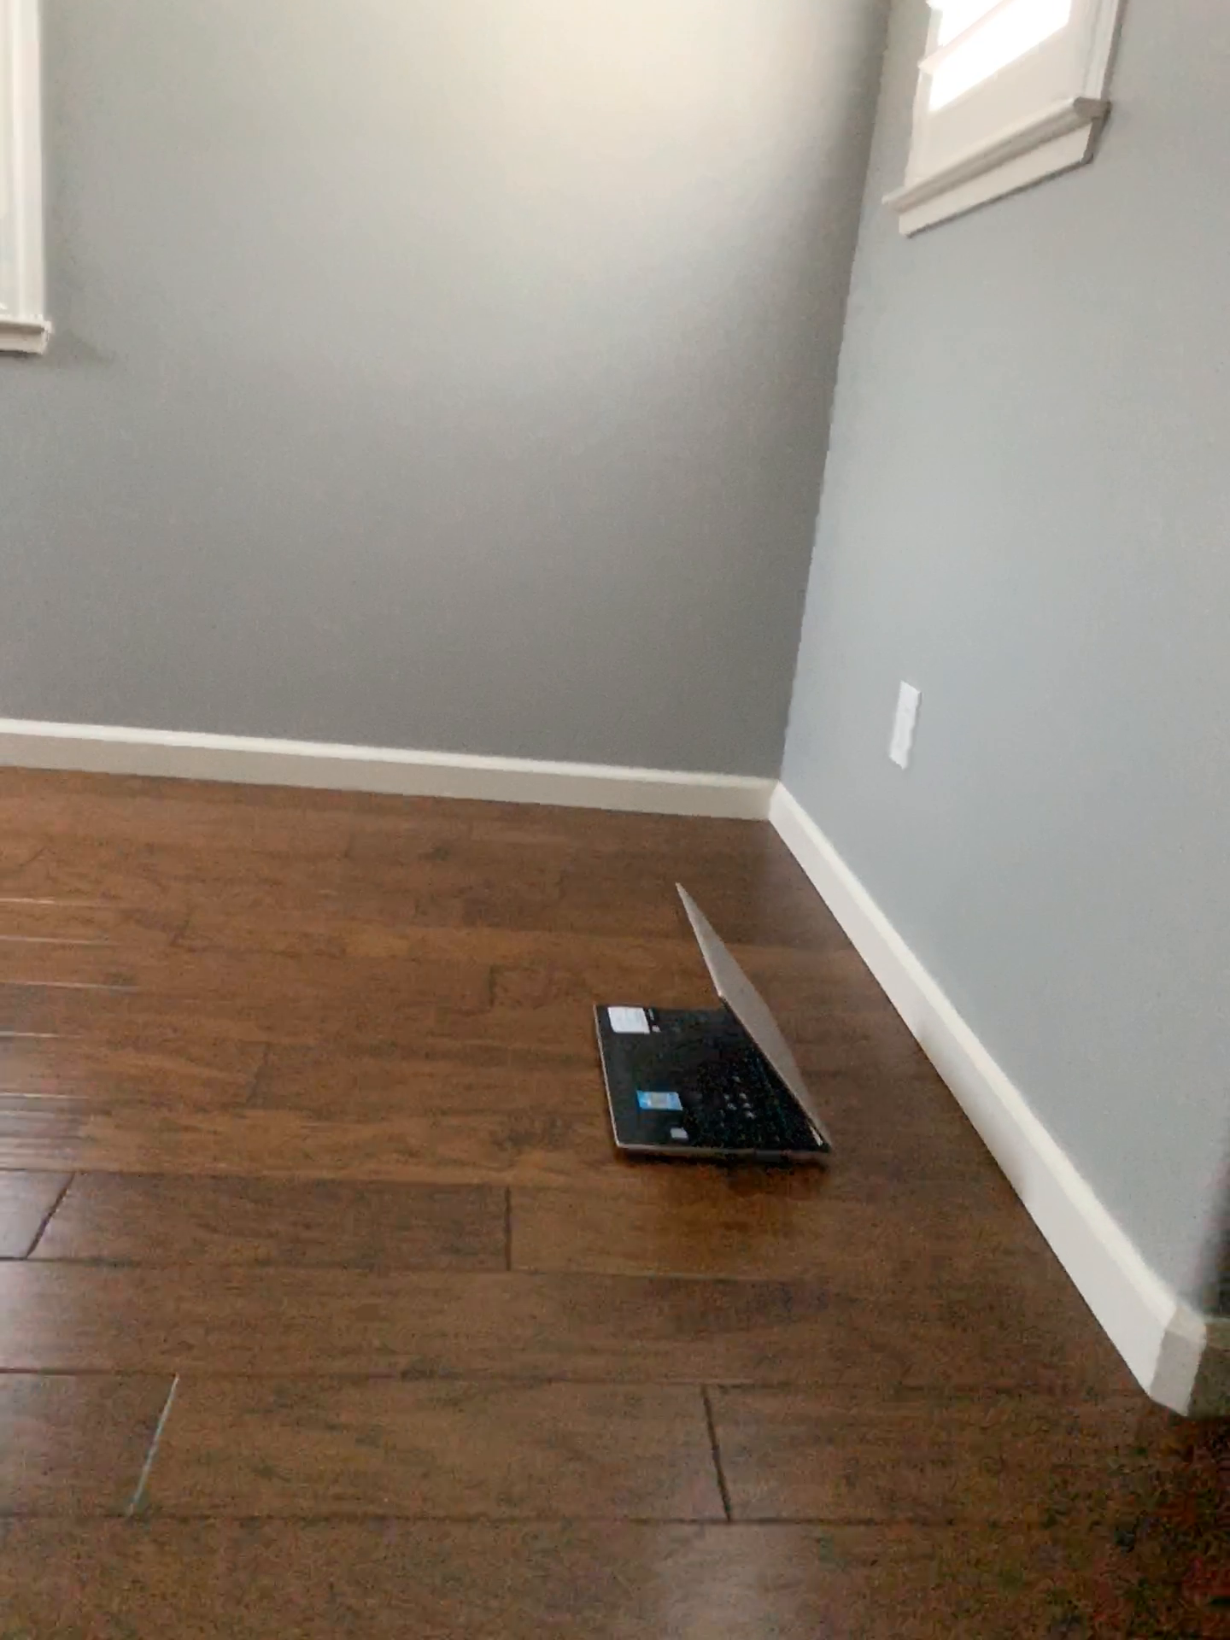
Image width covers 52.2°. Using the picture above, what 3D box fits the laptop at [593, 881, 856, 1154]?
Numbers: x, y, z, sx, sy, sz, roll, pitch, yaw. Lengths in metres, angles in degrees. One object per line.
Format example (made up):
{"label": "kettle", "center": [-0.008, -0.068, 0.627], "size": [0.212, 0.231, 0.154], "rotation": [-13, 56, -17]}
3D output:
{"label": "laptop", "center": [0.105, 0.207, 1.393], "size": [0.219, 0.169, 0.318], "rotation": [4, 16, -7]}
